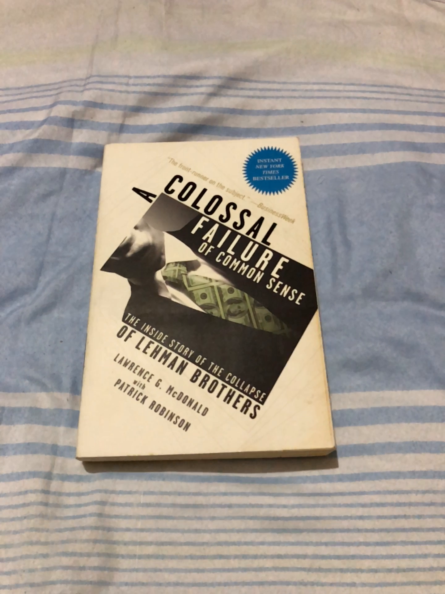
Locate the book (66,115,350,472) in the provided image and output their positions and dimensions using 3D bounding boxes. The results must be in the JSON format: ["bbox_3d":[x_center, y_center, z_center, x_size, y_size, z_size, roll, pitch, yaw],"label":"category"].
[{"bbox_3d":[-0.011,-0.012,0.308,0.140,0.040,0.220,-2,66,-2],"label":"book"}]
